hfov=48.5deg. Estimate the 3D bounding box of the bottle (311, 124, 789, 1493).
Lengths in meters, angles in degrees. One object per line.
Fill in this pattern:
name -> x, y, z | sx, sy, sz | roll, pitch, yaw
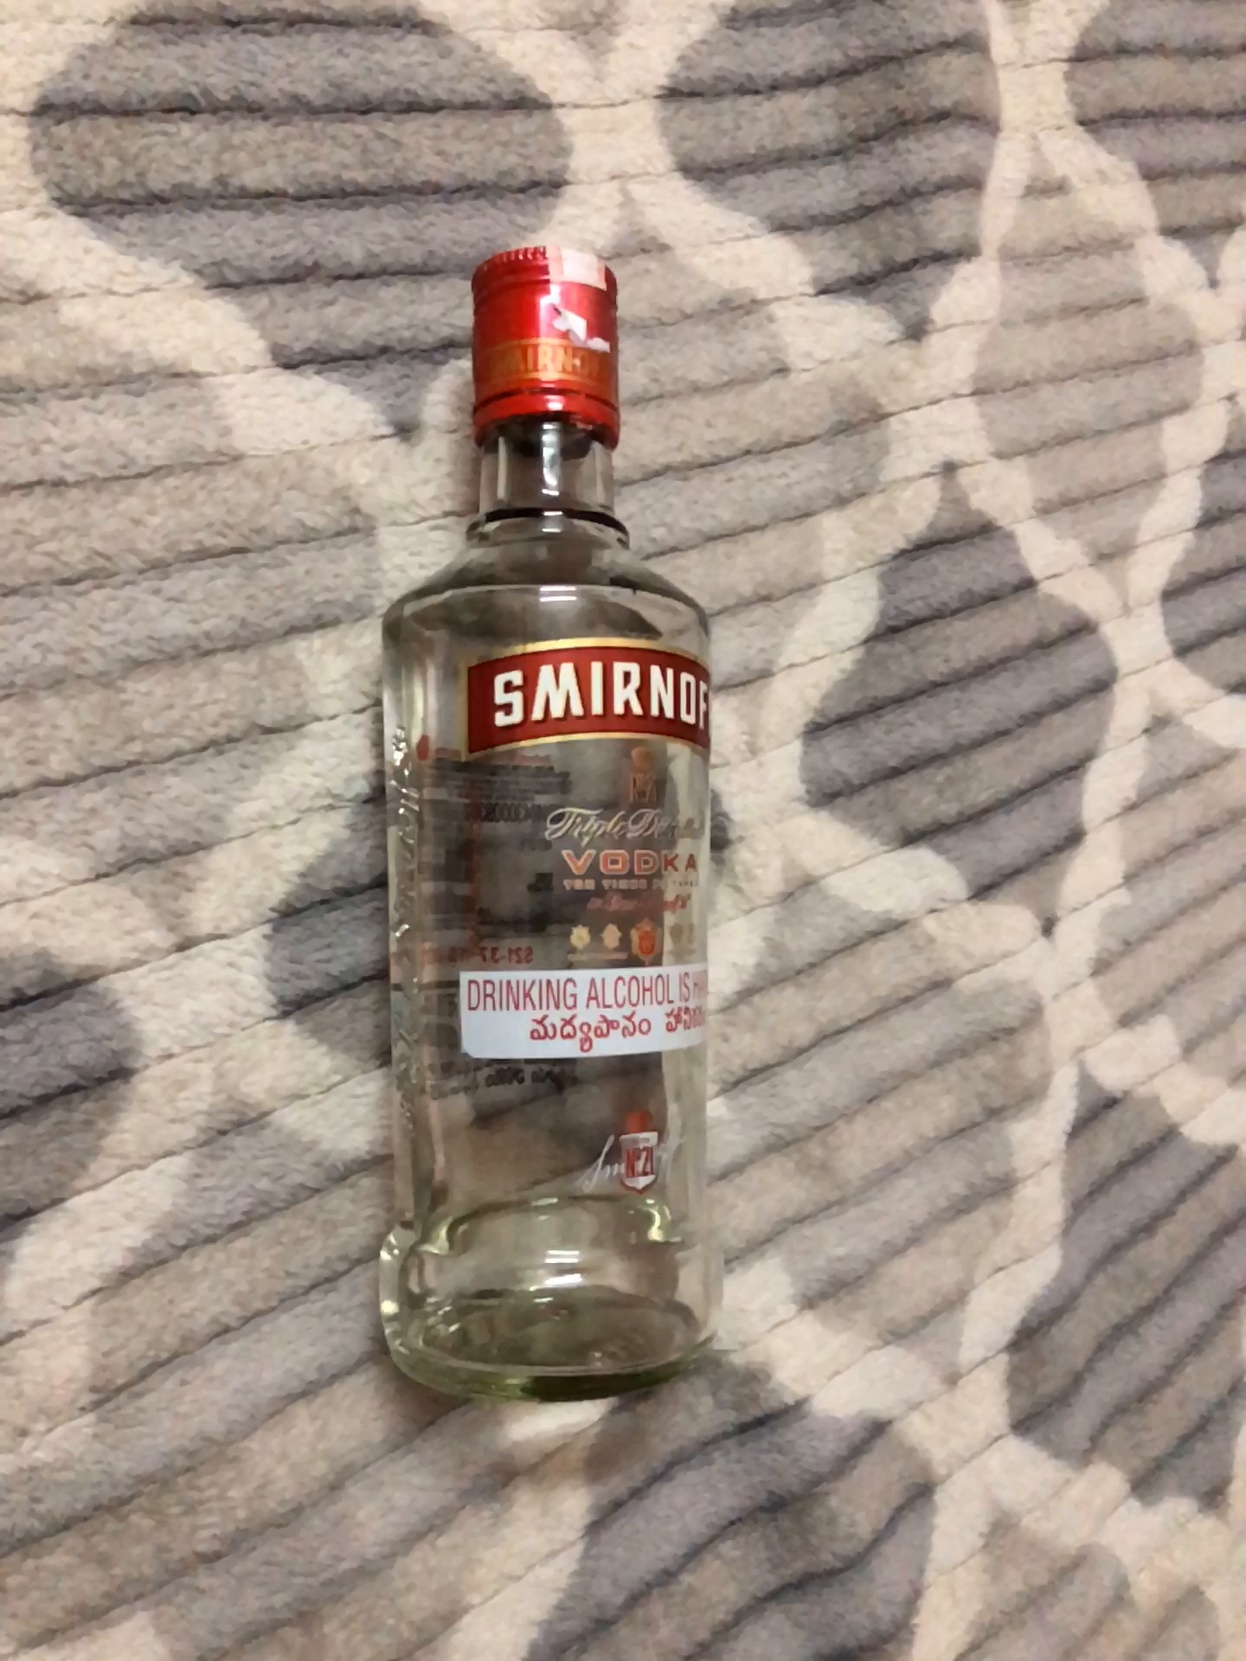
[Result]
bottle -> -0.017, -0.005, 0.276 | 0.070, 0.060, 0.230 | 3, 83, -37
